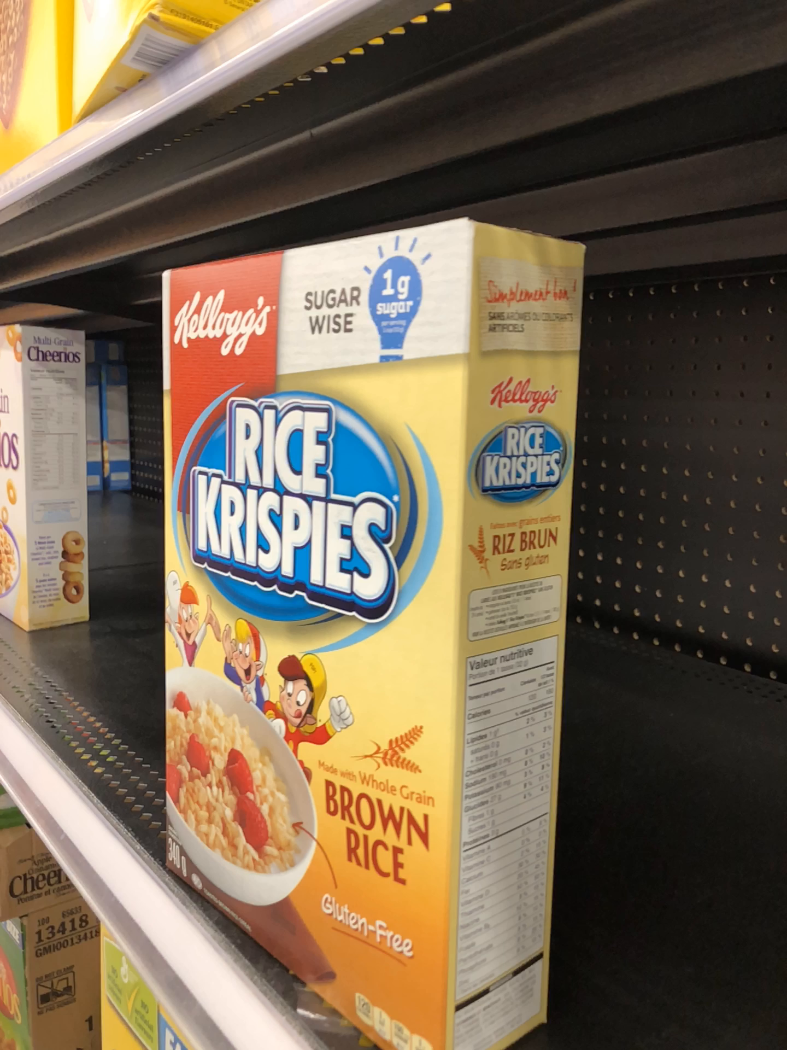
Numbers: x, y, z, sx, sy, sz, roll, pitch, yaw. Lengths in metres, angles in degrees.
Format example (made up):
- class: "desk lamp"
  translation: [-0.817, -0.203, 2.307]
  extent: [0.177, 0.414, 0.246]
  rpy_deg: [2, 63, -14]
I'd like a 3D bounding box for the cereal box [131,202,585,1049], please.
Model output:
- class: "cereal box"
  translation: [-0.031, 0.034, 0.367]
  extent: [0.060, 0.289, 0.210]
  rpy_deg: [-6, 11, -42]
